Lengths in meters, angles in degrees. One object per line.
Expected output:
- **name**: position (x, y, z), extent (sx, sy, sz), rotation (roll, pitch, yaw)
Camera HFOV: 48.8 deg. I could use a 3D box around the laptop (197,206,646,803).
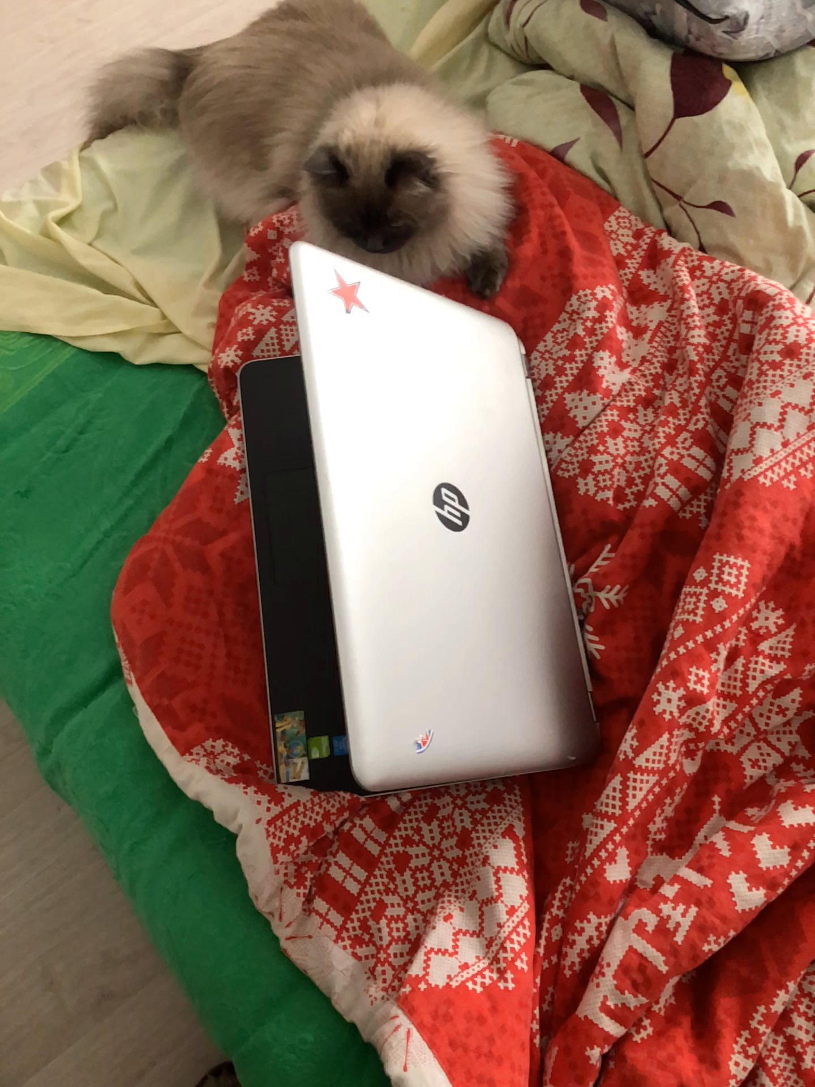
- **laptop**: position (-0.002, -0.026, 0.738), extent (0.276, 0.176, 0.414), rotation (-7, 72, -2)
